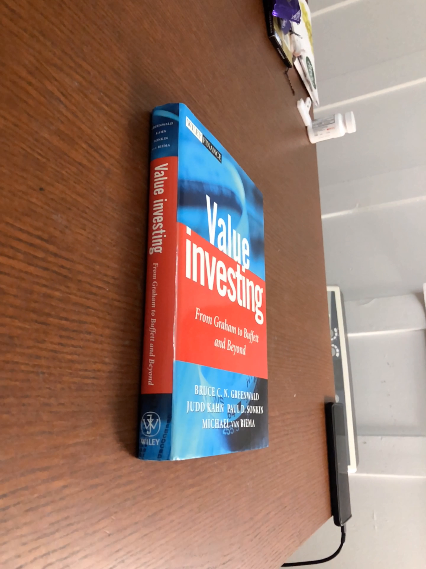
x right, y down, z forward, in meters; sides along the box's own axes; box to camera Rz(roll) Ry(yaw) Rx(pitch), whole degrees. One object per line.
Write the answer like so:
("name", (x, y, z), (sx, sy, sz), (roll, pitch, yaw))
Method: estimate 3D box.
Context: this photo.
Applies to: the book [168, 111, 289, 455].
("book", (0.021, 0.010, 0.379), (0.171, 0.020, 0.230), (31, 56, -59))
